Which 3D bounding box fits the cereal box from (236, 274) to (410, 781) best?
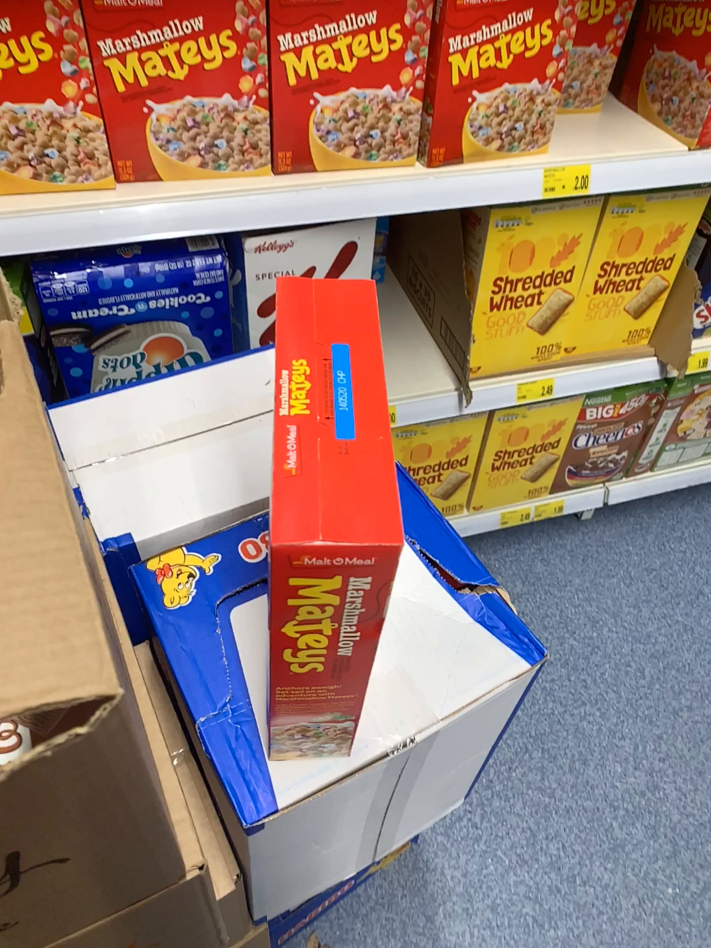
[{"bbox_3d":[-0.027,0.053,0.463,0.070,0.287,0.192,2,51,-4],"label":"cereal box"}]
